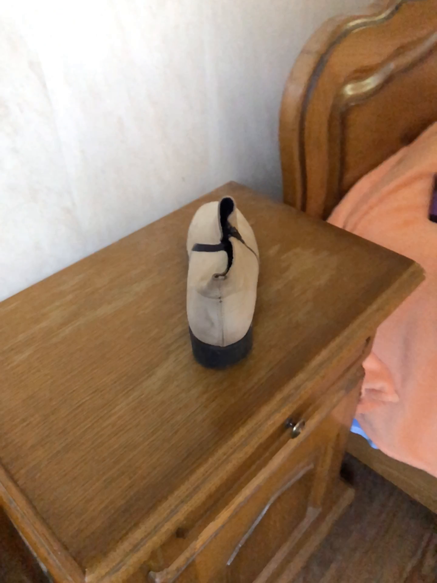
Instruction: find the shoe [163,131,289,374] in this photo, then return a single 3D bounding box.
[{"bbox_3d":[0.001,-0.060,0.528,0.100,0.129,0.272,-3,39,-1],"label":"shoe"}]
